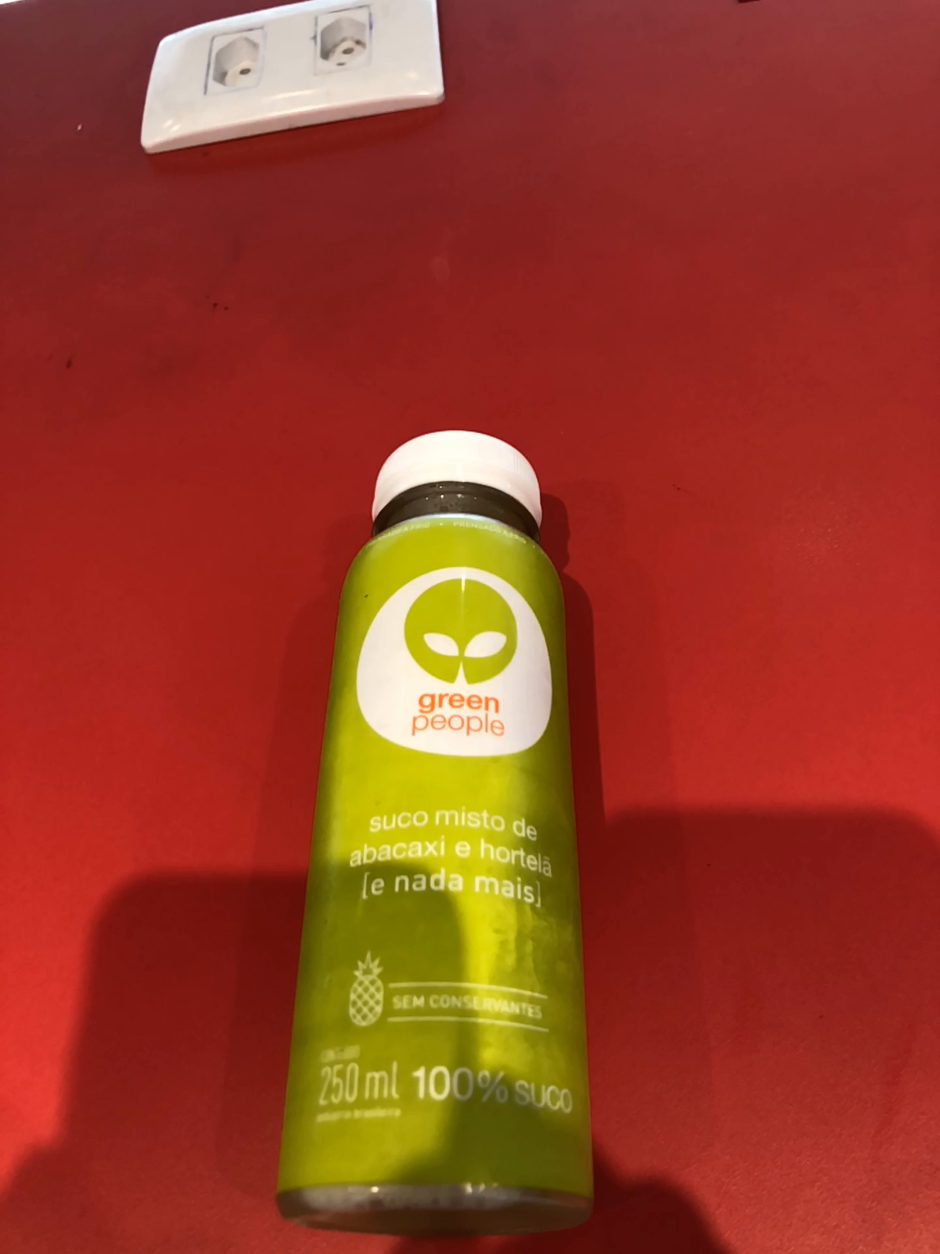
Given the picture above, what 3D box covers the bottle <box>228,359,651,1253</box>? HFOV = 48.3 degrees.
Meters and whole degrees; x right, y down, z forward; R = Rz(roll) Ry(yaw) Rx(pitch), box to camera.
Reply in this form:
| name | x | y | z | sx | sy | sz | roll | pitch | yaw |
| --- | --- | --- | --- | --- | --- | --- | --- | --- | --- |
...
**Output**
| name | x | y | z | sx | sy | sz | roll | pitch | yaw |
| --- | --- | --- | --- | --- | --- | --- | --- | --- | --- |
| bottle | -0.004 | 0.031 | 0.210 | 0.060 | 0.050 | 0.171 | 5 | 62 | -5 |
